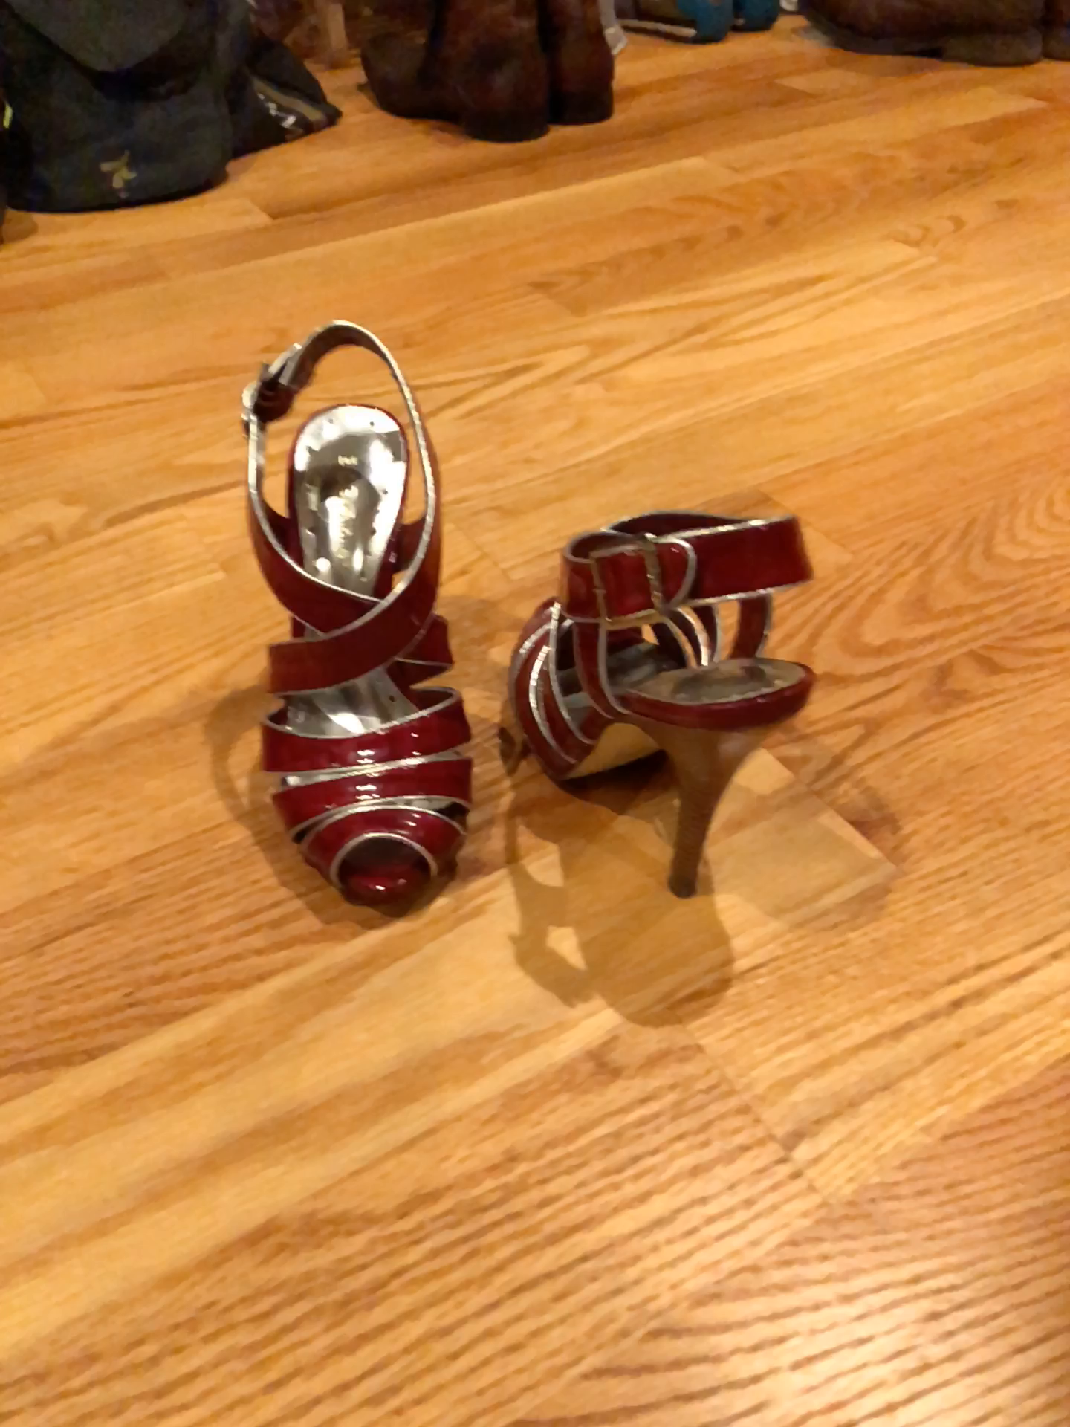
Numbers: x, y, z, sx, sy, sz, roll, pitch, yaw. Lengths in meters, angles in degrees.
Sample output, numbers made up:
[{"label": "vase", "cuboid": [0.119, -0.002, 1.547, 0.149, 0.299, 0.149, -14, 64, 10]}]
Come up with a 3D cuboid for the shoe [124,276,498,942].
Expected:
[{"label": "shoe", "cuboid": [-0.085, -0.048, 0.443, 0.091, 0.151, 0.199, -11, 41, -9]}]

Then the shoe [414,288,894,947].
[{"label": "shoe", "cuboid": [0.029, -0.045, 0.430, 0.091, 0.141, 0.194, -13, 42, -11]}]
